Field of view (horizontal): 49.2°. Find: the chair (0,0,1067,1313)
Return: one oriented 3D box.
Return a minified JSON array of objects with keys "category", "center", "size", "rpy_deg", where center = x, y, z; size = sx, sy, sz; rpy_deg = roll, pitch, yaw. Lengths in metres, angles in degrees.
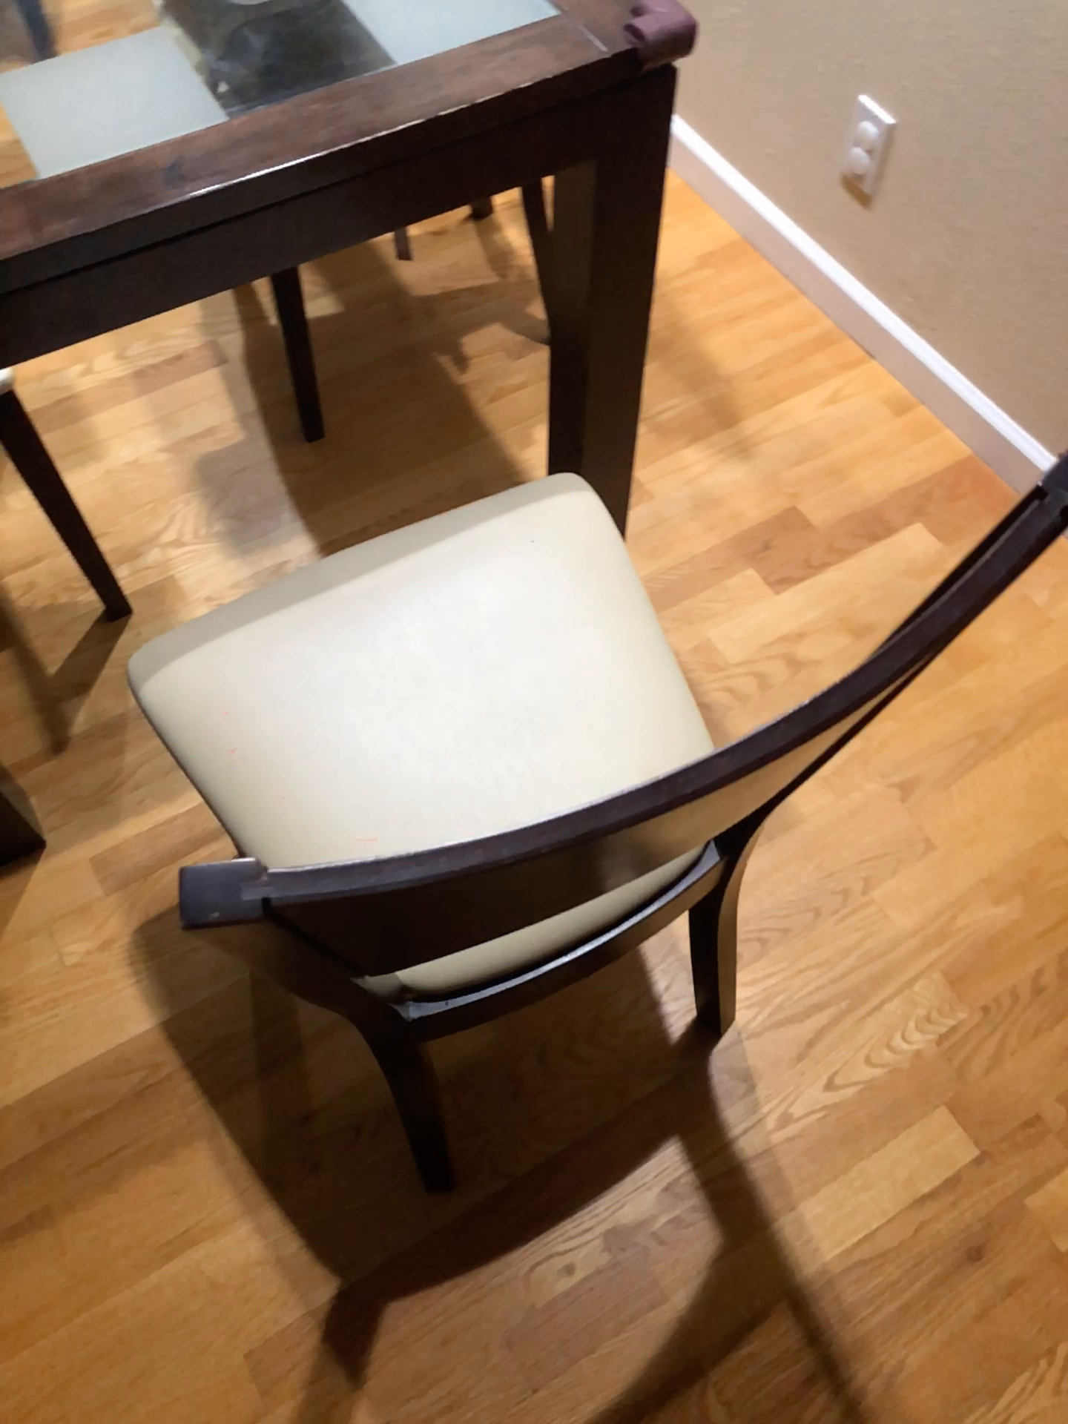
[{"category":"chair","center":[-0.046,0.034,1.036],"size":[0.501,1.006,0.642],"rpy_deg":[-29,62,-17]}]
